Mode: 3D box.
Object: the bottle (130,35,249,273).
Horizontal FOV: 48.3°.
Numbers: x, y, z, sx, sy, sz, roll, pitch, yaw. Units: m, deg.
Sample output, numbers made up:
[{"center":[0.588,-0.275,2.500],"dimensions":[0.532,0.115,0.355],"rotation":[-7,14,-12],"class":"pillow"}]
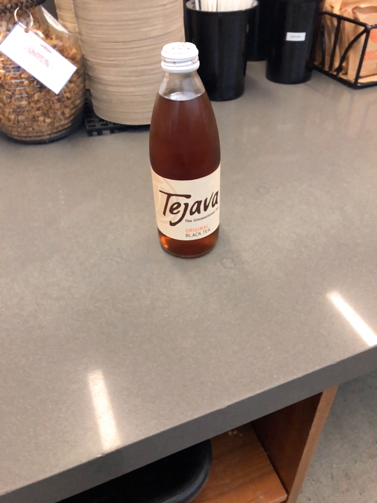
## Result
[{"center":[0.001,-0.081,0.383],"dimensions":[0.070,0.189,0.070],"rotation":[-1,41,1],"class":"bottle"}]
